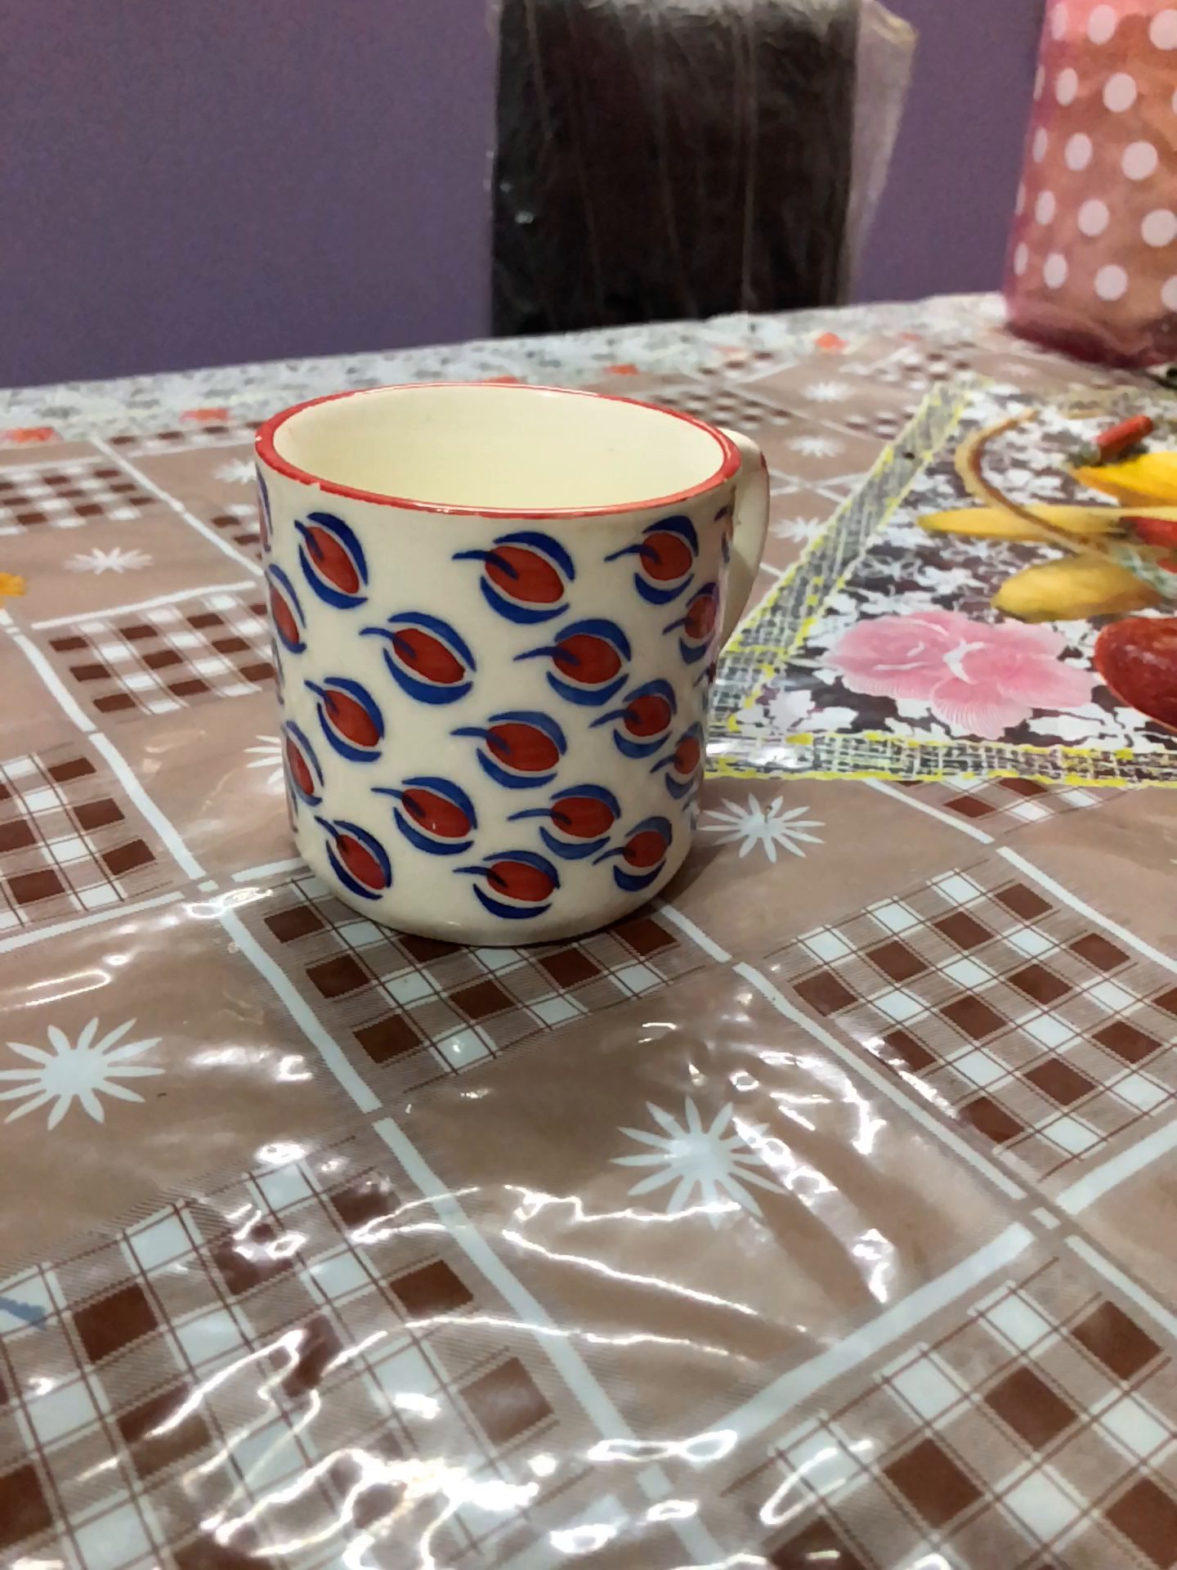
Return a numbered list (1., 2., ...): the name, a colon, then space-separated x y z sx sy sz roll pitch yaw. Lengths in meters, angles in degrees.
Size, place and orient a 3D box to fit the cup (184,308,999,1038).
1. cup: 0.003 -0.031 0.233 0.080 0.079 0.111 26 36 34
